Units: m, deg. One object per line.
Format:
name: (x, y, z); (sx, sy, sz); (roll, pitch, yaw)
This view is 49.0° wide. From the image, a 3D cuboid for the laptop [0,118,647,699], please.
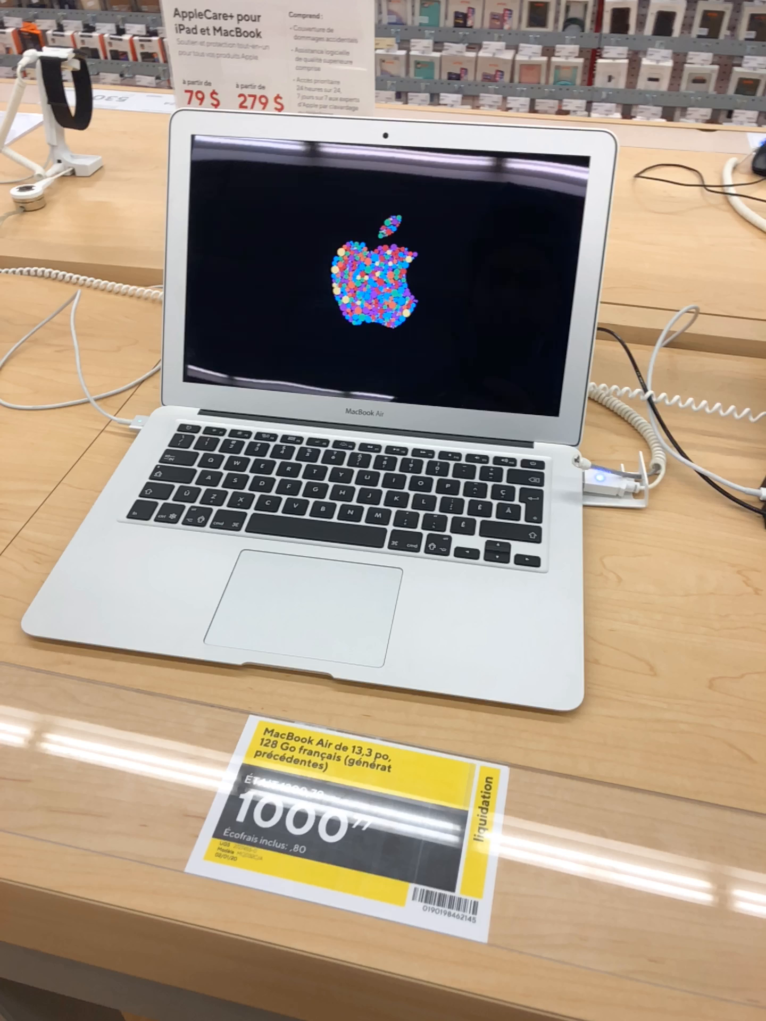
laptop: (-0.026, -0.089, 0.516); (0.305, 0.186, 0.326); (6, 40, 6)
